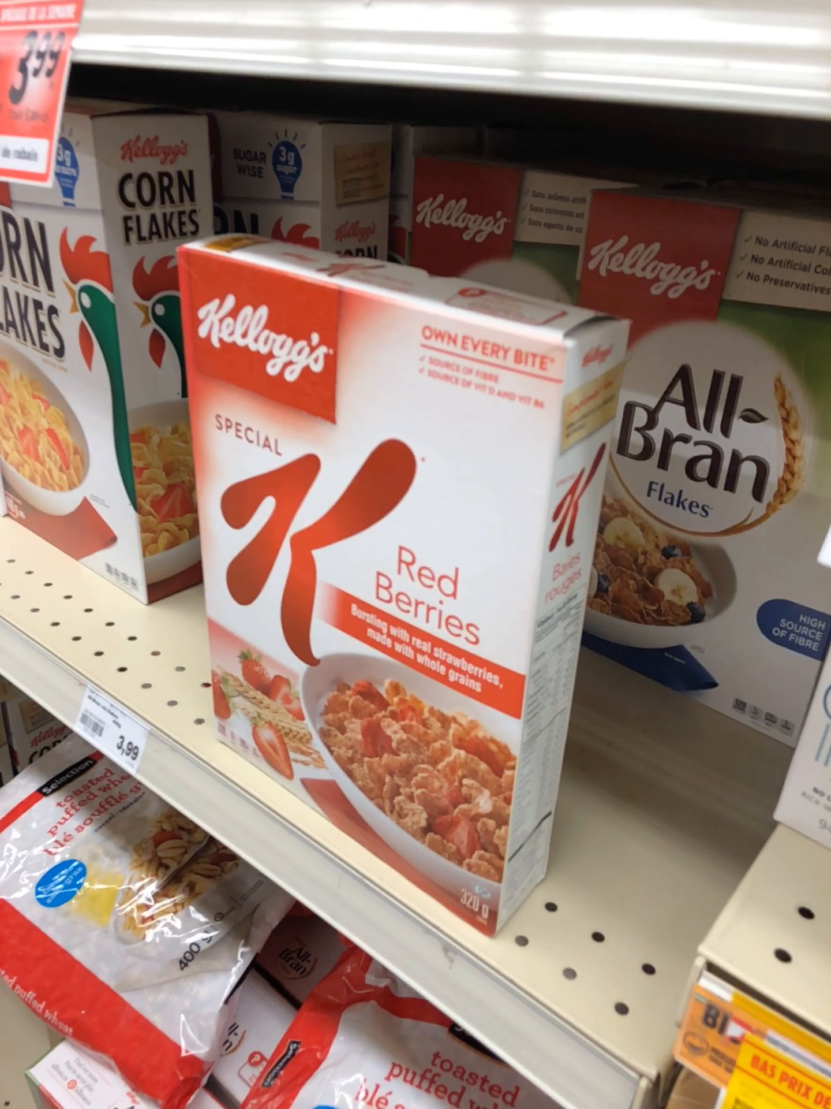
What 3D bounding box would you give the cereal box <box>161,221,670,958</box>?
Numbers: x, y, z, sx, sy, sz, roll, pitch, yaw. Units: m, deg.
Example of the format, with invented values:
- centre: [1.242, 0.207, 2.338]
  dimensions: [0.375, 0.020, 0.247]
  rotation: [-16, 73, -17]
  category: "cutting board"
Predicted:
- centre: [-0.015, 0.011, 0.419]
  dimensions: [0.211, 0.278, 0.060]
  rotation: [25, 36, 35]
  category: "cereal box"
